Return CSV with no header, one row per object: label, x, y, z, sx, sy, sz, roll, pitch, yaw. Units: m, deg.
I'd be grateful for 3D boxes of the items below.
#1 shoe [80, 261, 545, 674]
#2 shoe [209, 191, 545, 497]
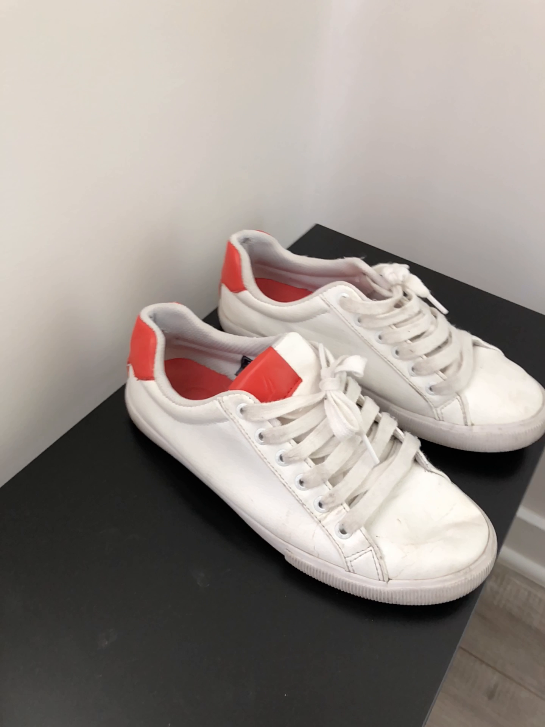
shoe,0.024,0.042,0.333,0.235,0.080,0.102,26,48,20
shoe,0.081,-0.024,0.407,0.230,0.080,0.100,26,48,20
